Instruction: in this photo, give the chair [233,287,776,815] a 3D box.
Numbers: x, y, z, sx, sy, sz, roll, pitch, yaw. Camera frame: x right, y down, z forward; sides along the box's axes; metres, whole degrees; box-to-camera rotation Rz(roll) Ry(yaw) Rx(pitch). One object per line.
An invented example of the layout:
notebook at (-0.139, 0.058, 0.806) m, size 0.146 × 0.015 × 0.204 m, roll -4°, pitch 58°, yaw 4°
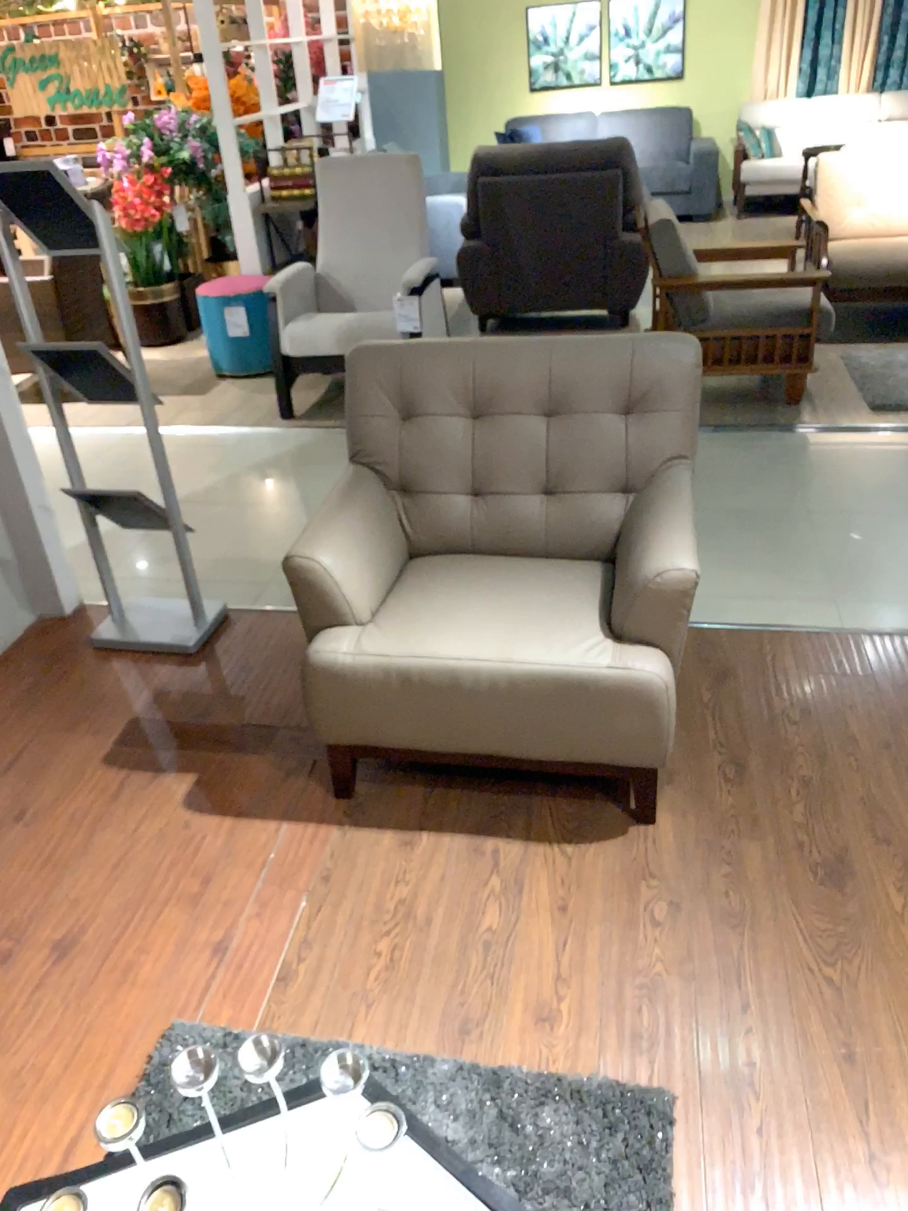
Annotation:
chair at (0.172, -0.200, 2.261) m, size 0.950 × 0.856 × 1.004 m, roll 2°, pitch 32°, yaw 10°
